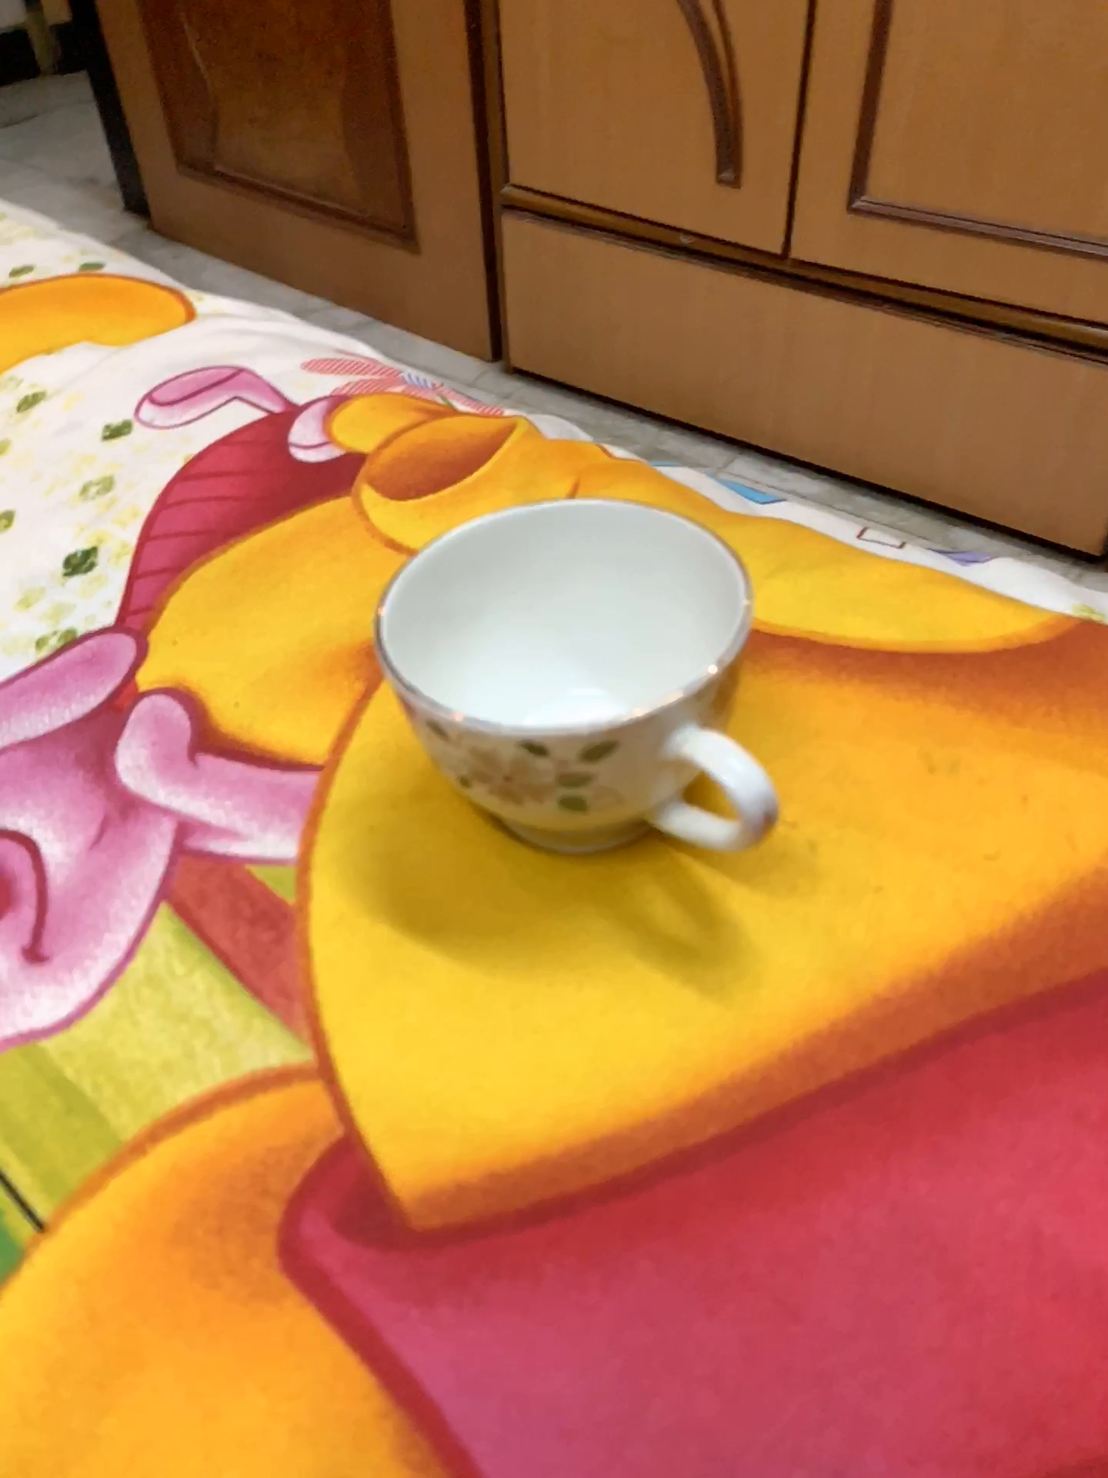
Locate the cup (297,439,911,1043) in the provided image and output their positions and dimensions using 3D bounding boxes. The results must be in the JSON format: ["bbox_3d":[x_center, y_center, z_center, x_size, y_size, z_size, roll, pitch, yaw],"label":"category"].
[{"bbox_3d":[0.008,-0.006,0.253,0.080,0.059,0.101,-31,50,-22],"label":"cup"}]
